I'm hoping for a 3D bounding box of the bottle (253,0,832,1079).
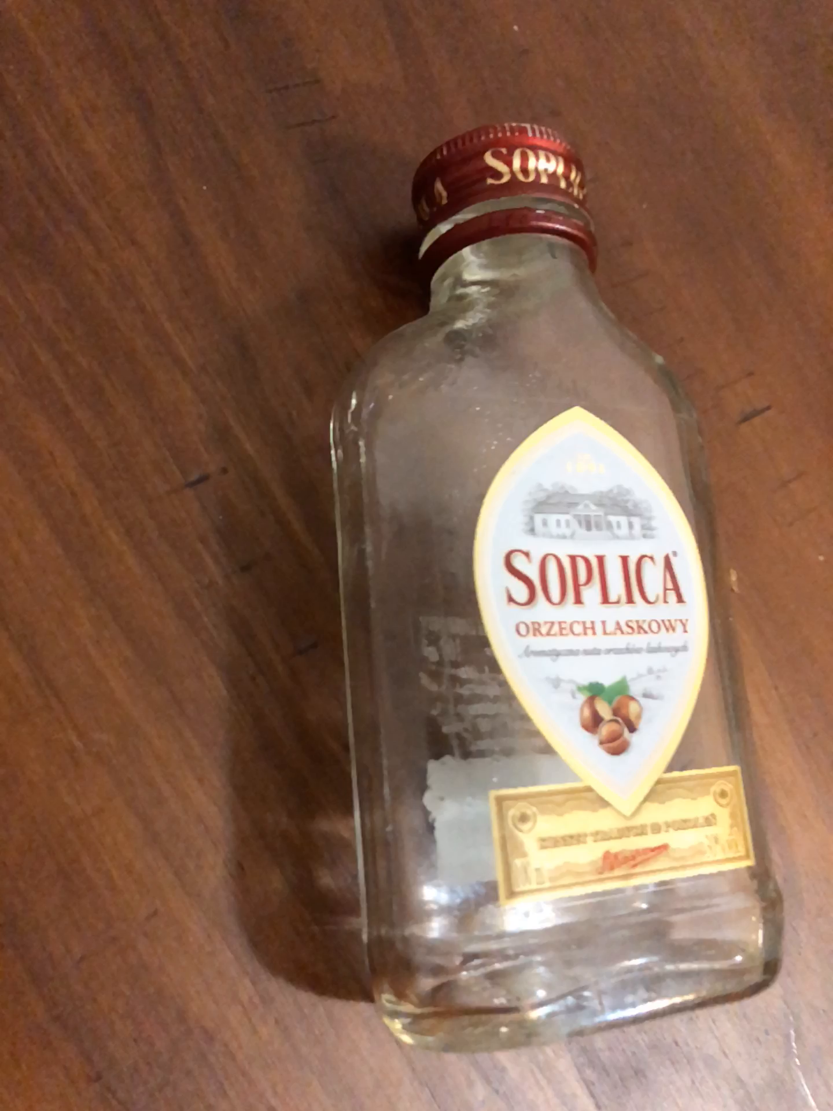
[{"bbox_3d":[0.016,-0.010,0.151,0.070,0.030,0.150,0,74,-24],"label":"bottle"}]
